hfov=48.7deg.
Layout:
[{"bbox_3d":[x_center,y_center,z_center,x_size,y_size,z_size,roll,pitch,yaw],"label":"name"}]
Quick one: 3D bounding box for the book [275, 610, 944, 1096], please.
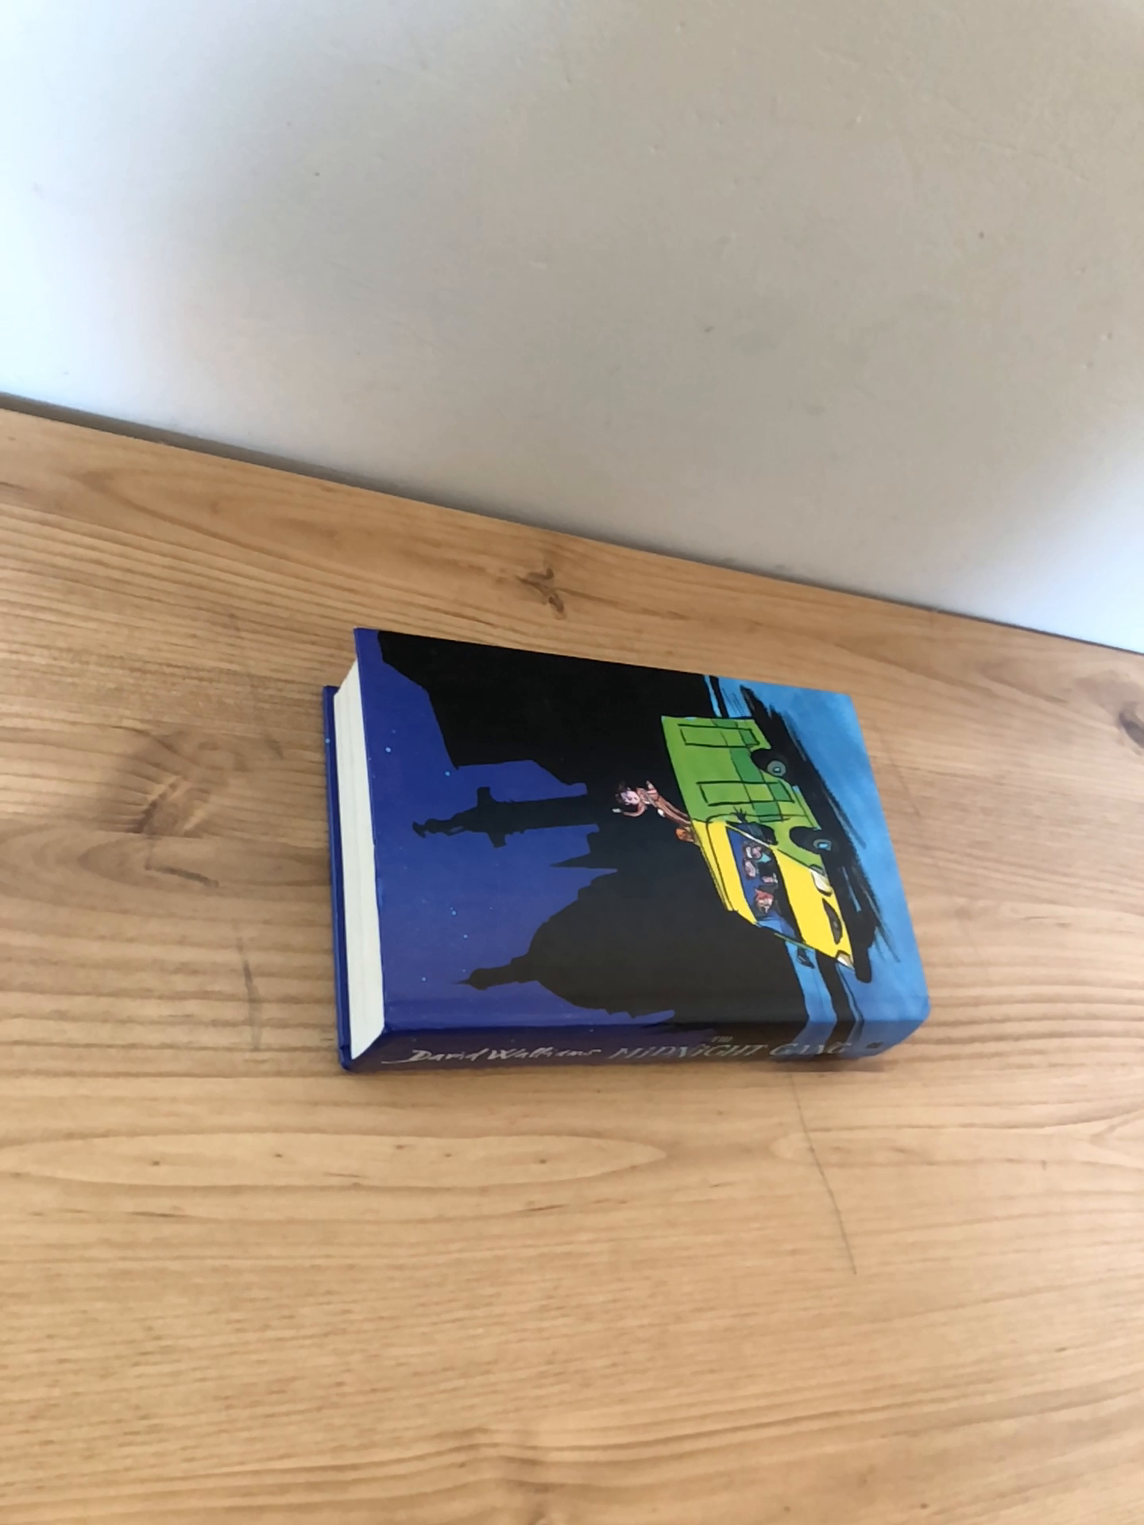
[{"bbox_3d":[0.015,0.038,0.484,0.238,0.060,0.153,5,63,-28],"label":"book"}]
